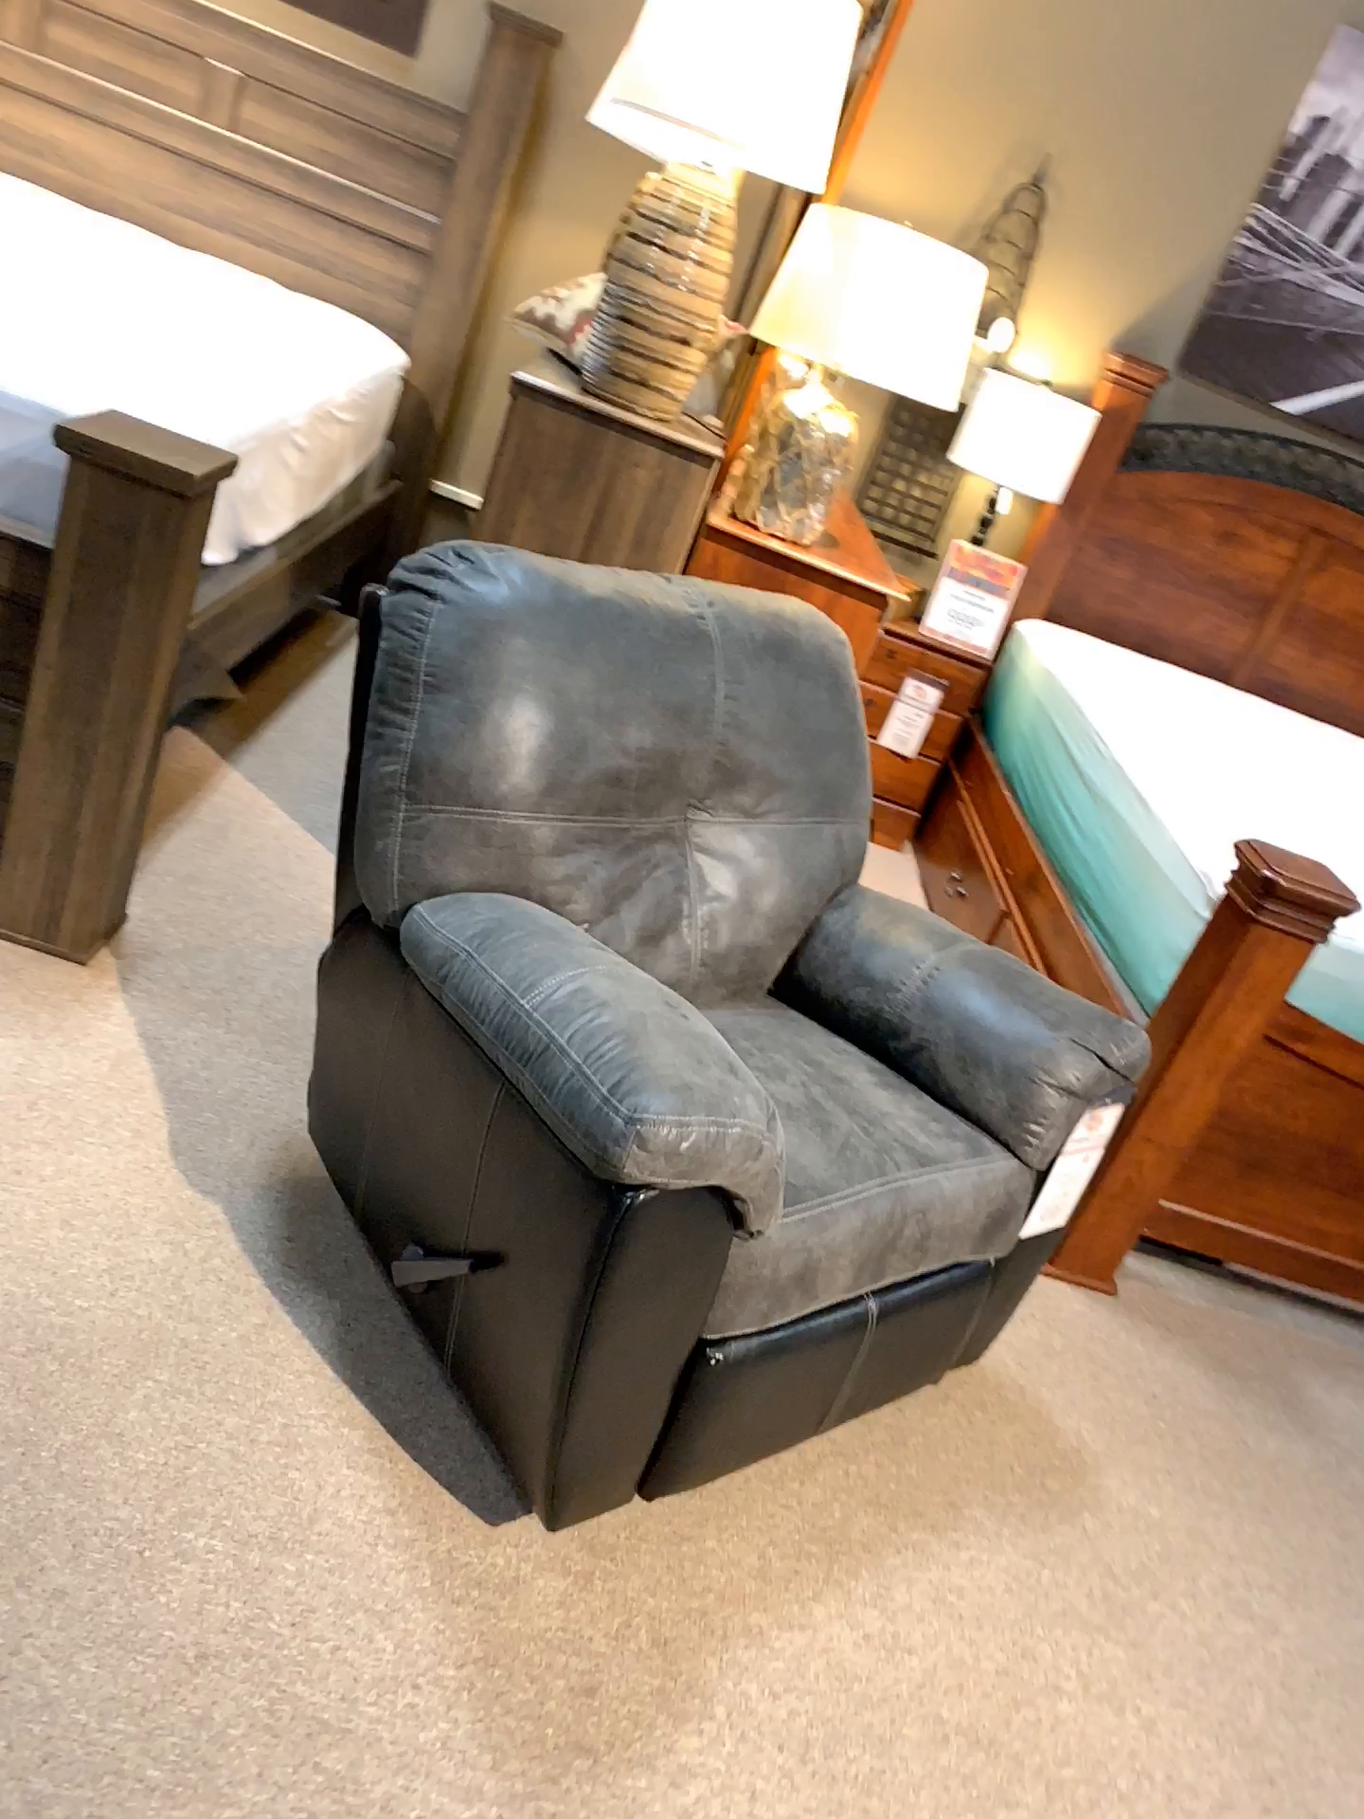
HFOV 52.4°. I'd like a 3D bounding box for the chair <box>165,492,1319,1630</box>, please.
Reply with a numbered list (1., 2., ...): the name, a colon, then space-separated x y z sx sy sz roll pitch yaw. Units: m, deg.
1. chair: 0.025 0.122 1.903 0.991 0.922 0.906 -2 34 -42
